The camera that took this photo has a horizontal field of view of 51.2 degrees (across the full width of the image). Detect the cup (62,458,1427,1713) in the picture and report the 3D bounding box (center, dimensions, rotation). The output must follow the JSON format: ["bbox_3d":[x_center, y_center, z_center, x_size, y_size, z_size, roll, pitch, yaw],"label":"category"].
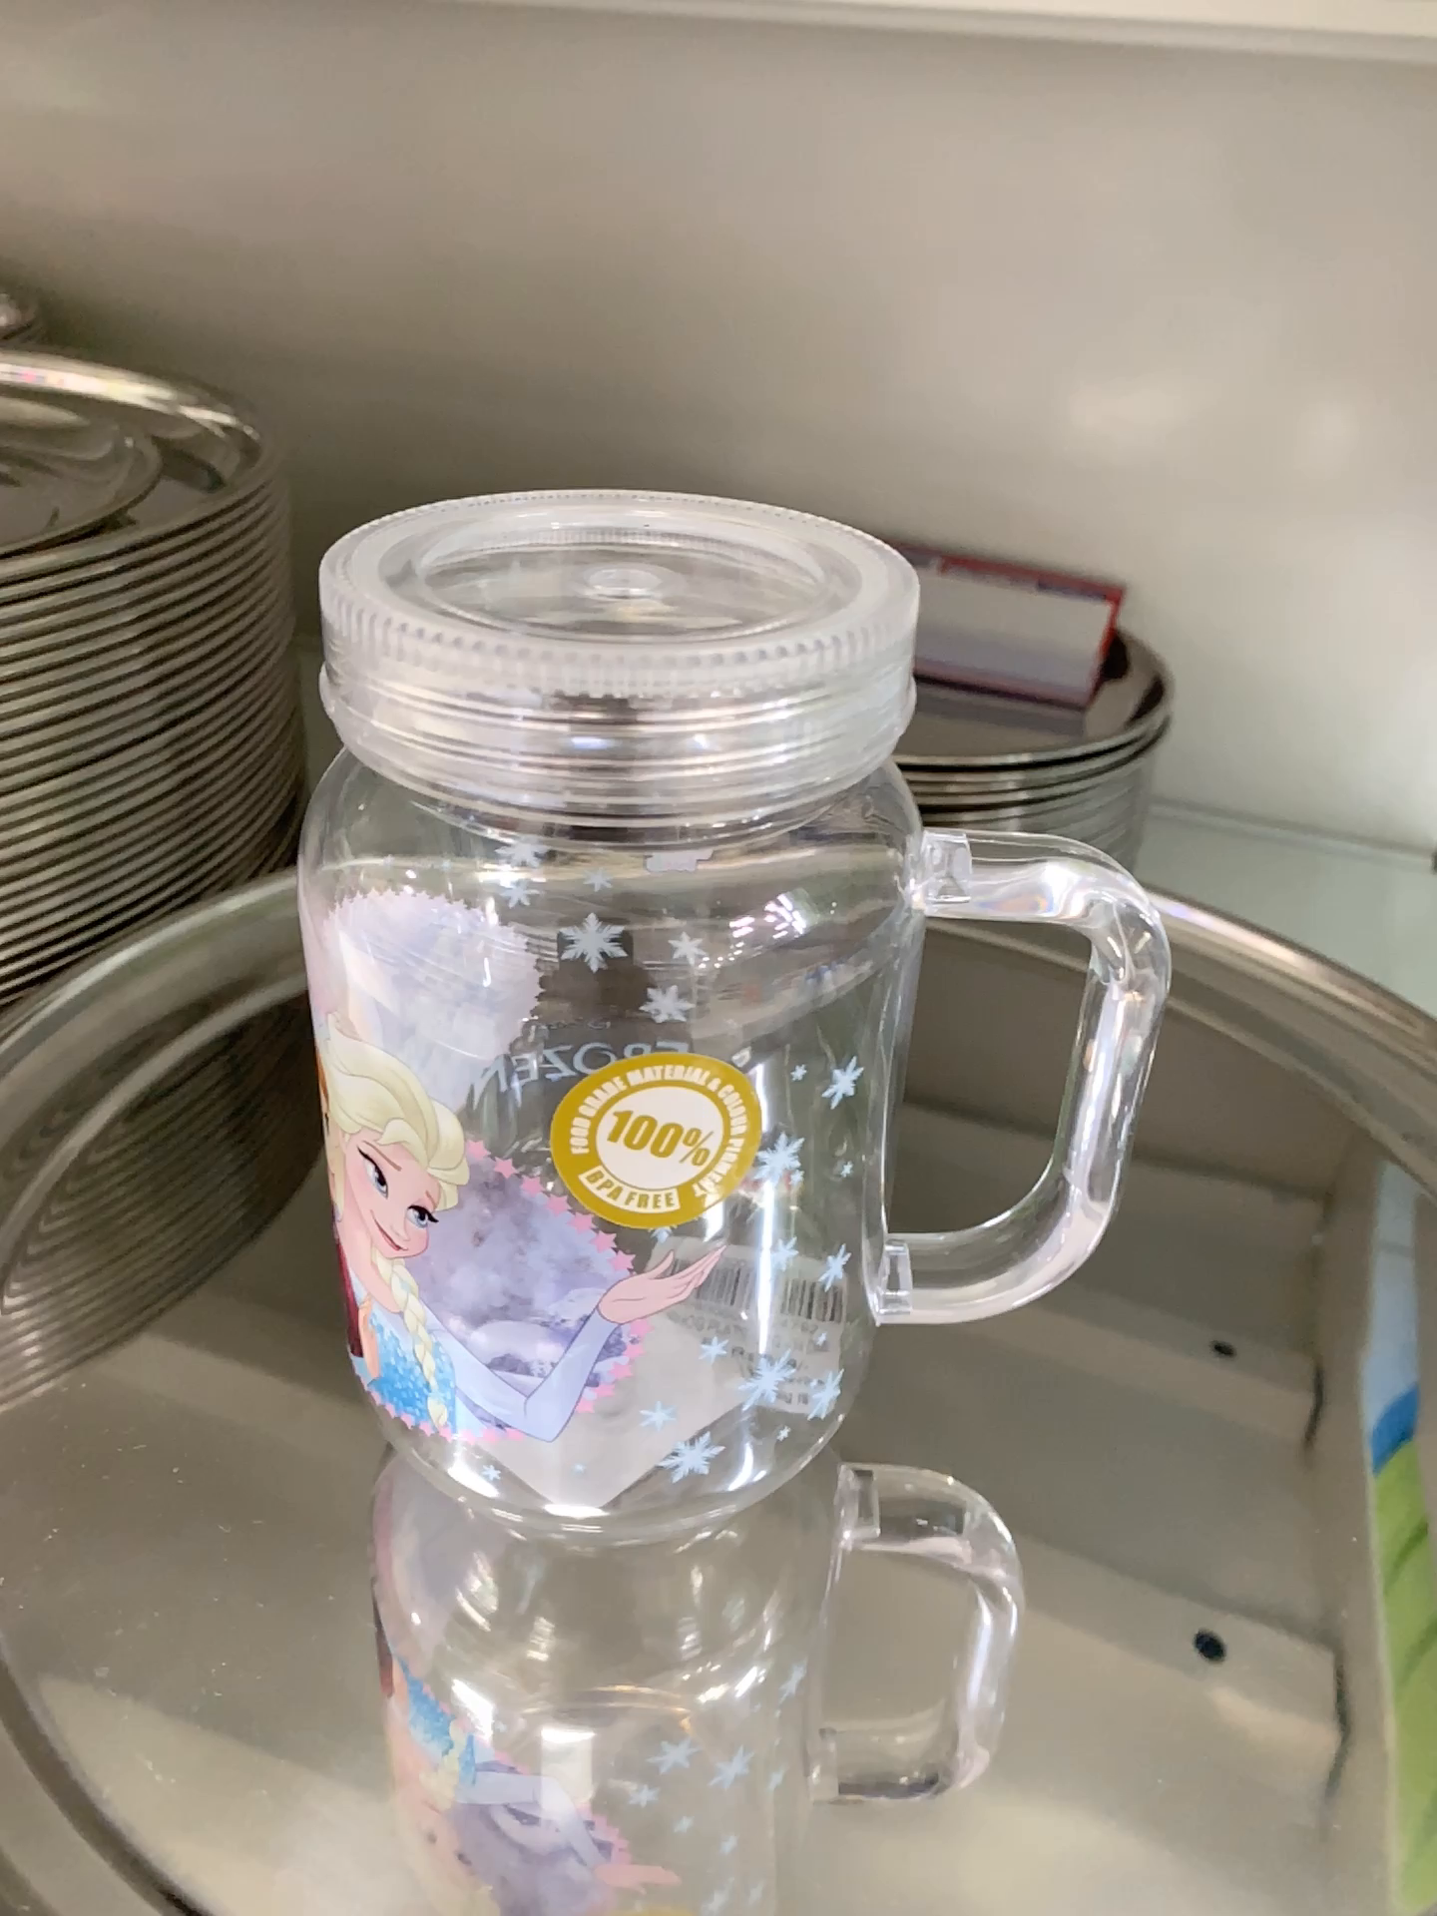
[{"bbox_3d":[0.000,0.015,0.193,0.120,0.129,0.071,7,29,5],"label":"cup"}]
